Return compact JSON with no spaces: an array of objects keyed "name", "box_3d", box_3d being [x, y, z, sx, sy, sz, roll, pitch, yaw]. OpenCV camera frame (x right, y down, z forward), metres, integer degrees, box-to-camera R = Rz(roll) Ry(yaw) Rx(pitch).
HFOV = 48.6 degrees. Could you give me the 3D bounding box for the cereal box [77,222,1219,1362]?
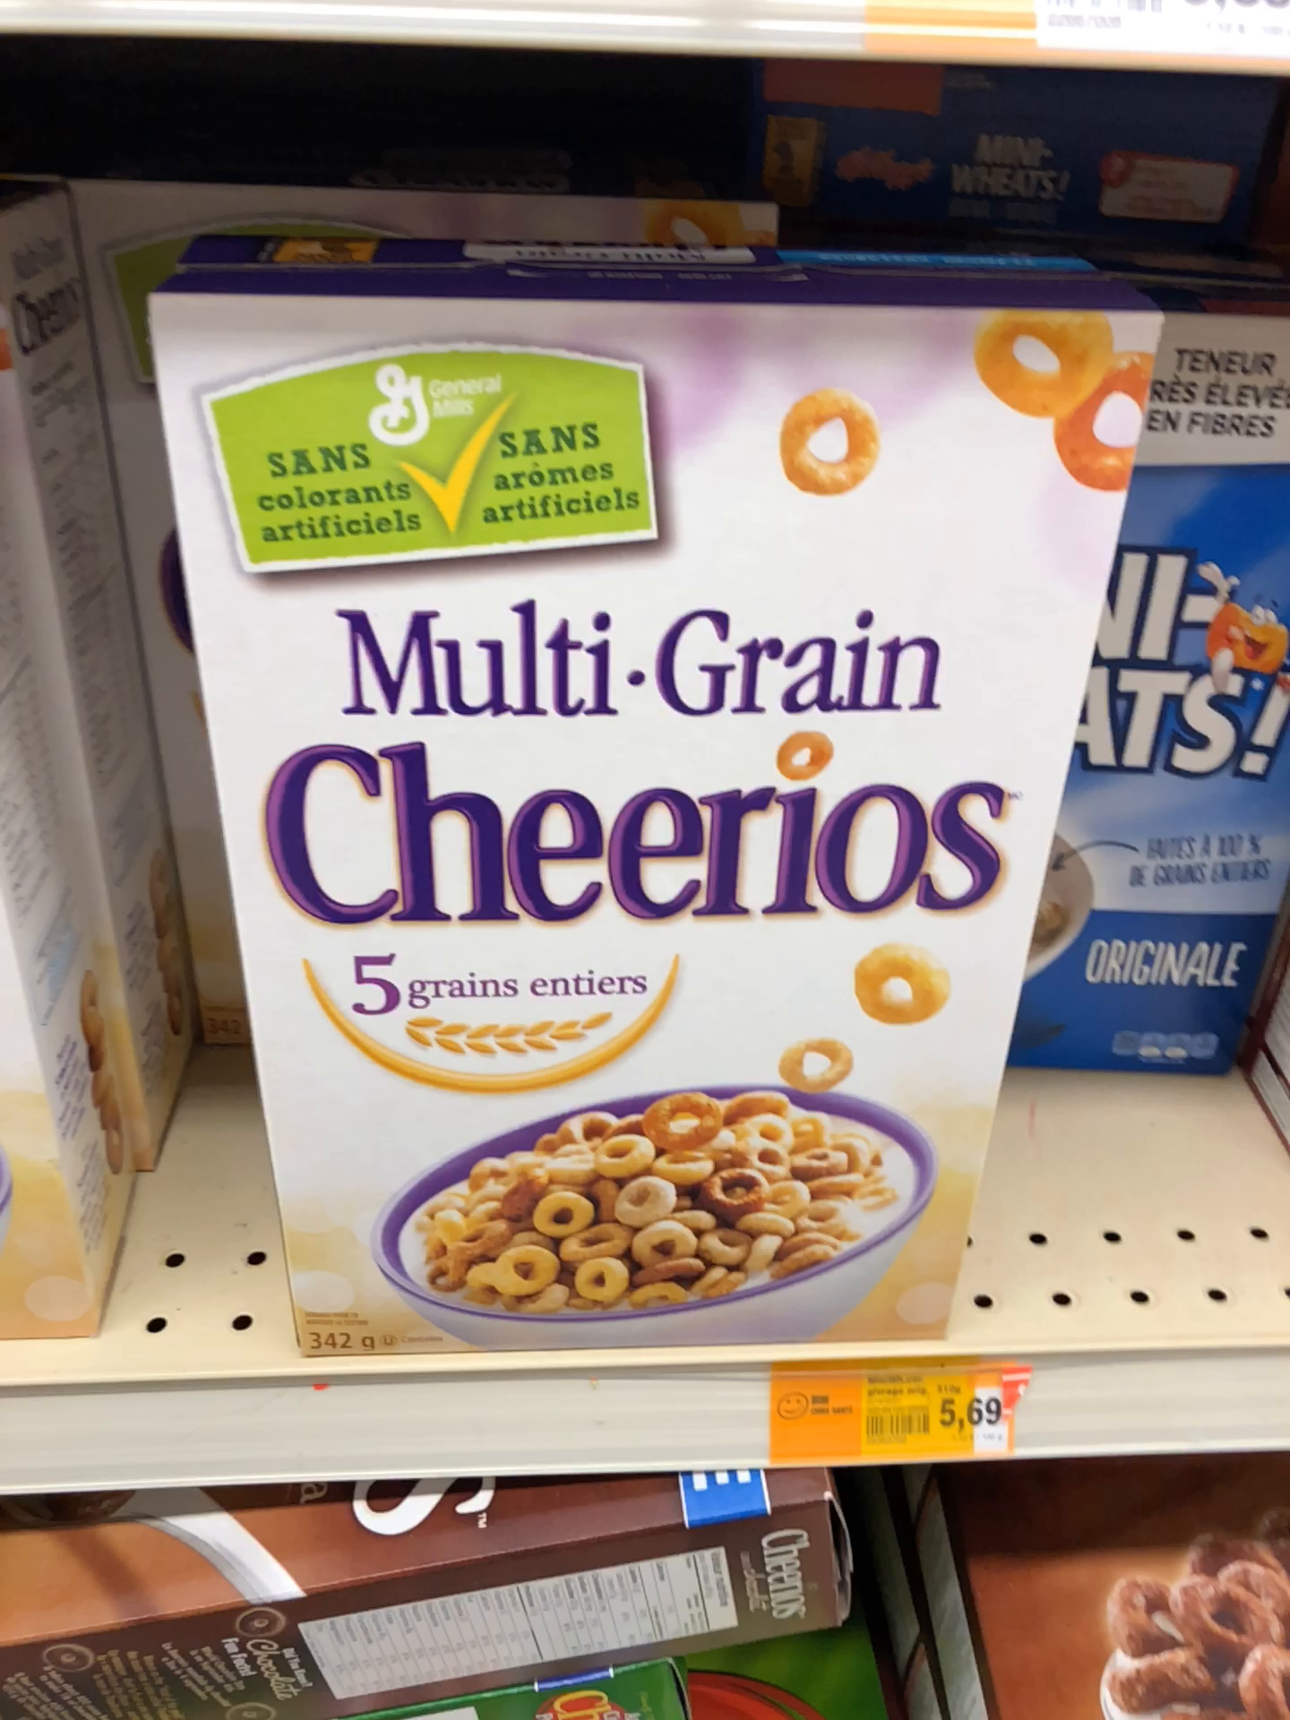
[{"name":"cereal box","box_3d":[-0.004,0.003,0.348,0.200,0.278,0.060,0,32,-4]}]
